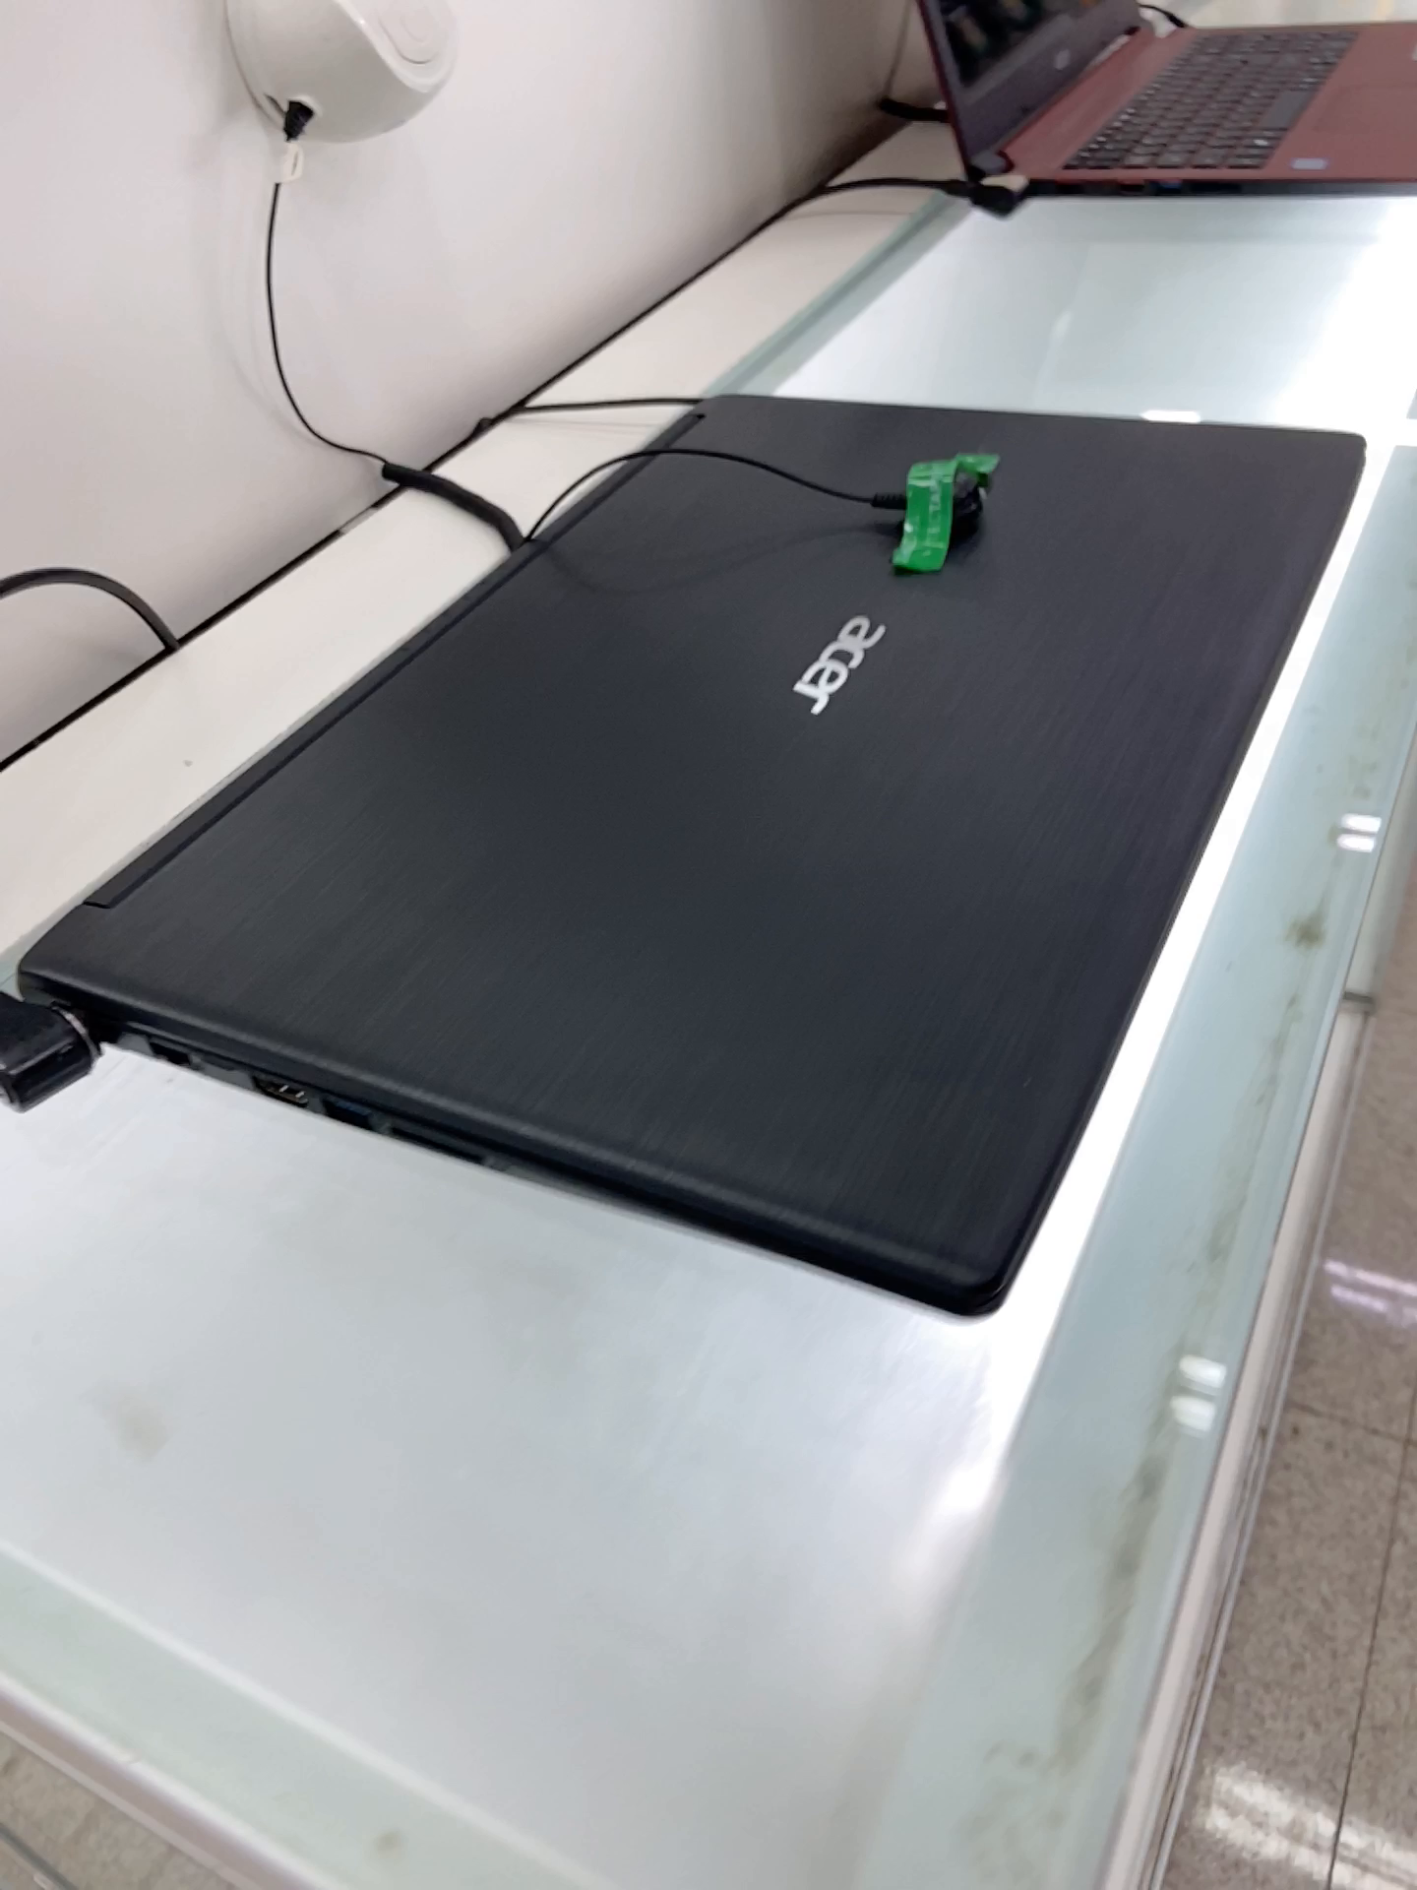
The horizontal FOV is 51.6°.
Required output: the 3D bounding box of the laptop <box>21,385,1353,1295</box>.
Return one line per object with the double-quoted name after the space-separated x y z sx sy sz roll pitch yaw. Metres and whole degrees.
0.028 -0.086 0.433 0.247 0.001 0.388 14 45 24 "laptop"
